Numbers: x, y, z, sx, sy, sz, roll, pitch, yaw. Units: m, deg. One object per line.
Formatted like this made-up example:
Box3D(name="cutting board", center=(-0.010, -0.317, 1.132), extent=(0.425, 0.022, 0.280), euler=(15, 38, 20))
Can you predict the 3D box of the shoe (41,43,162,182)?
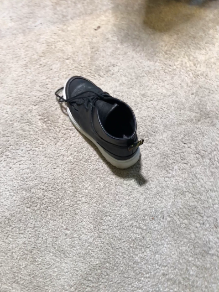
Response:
Box3D(name="shoe", center=(-0.021, -0.071, 0.511), extent=(0.107, 0.111, 0.262), euler=(-33, 71, -10))
